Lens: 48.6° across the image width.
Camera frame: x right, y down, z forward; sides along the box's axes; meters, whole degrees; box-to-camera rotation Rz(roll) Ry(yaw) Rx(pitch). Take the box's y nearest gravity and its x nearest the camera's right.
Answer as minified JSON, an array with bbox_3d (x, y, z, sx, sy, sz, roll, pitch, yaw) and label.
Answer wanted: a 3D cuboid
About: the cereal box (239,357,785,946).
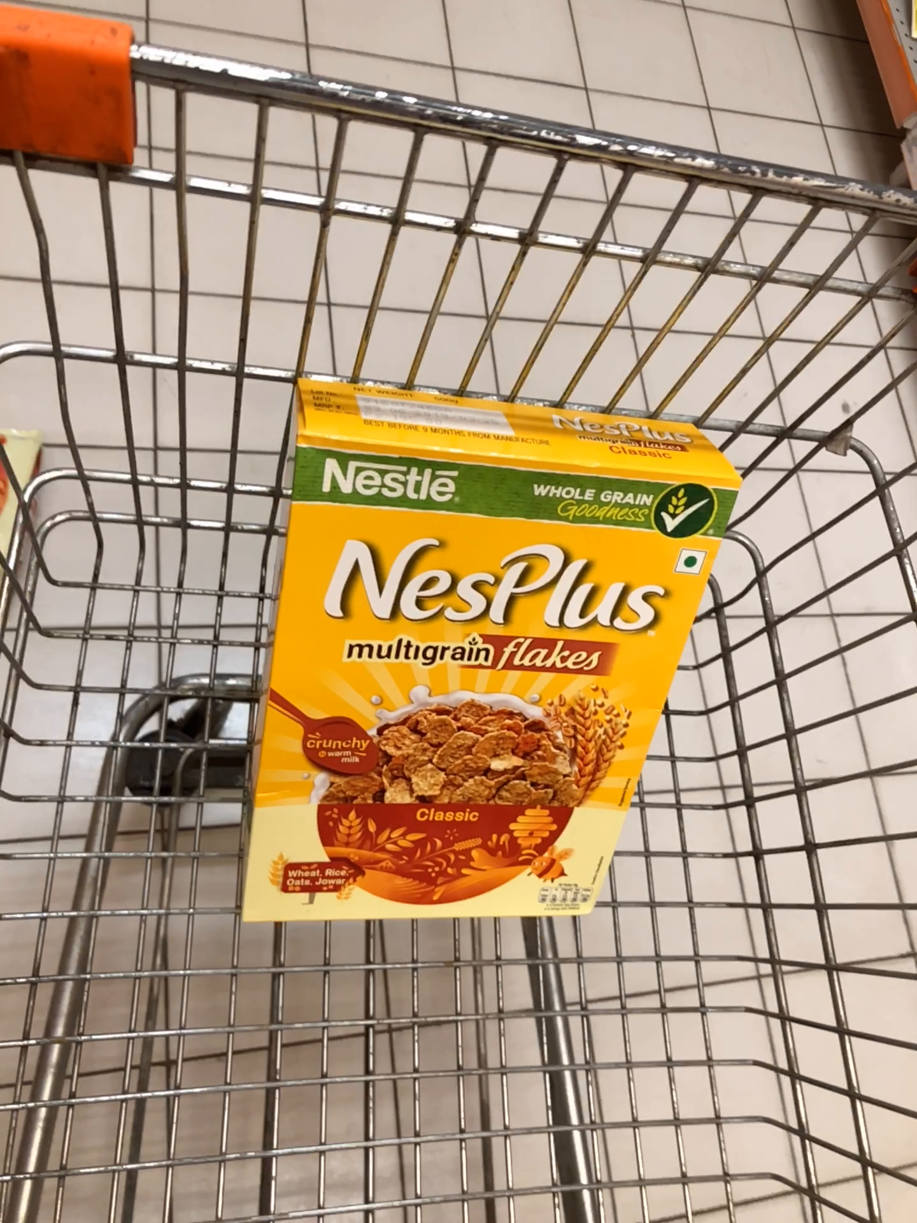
[{"bbox_3d":[0.006,0.029,0.473,0.190,0.249,0.090,3,29,-16],"label":"cereal box"}]
